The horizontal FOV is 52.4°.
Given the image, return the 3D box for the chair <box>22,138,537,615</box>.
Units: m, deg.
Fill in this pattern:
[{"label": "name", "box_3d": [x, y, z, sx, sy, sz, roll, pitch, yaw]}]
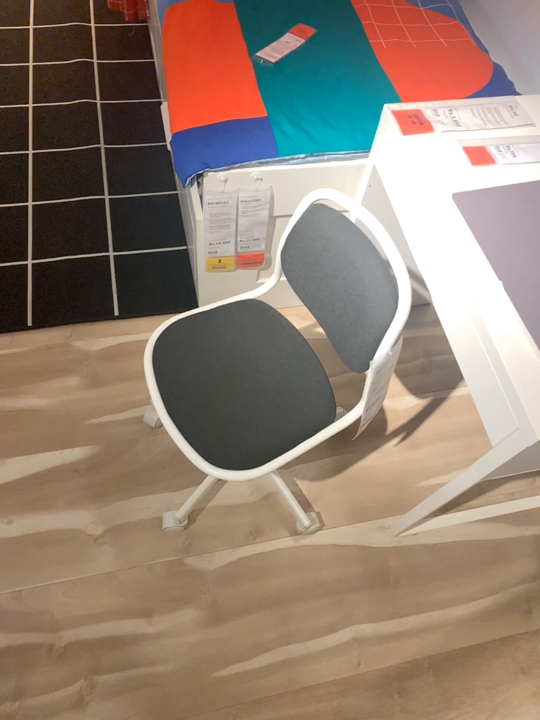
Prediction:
[{"label": "chair", "box_3d": [-0.014, 0.071, 1.155, 0.620, 0.659, 0.551, -28, 67, -19]}]
